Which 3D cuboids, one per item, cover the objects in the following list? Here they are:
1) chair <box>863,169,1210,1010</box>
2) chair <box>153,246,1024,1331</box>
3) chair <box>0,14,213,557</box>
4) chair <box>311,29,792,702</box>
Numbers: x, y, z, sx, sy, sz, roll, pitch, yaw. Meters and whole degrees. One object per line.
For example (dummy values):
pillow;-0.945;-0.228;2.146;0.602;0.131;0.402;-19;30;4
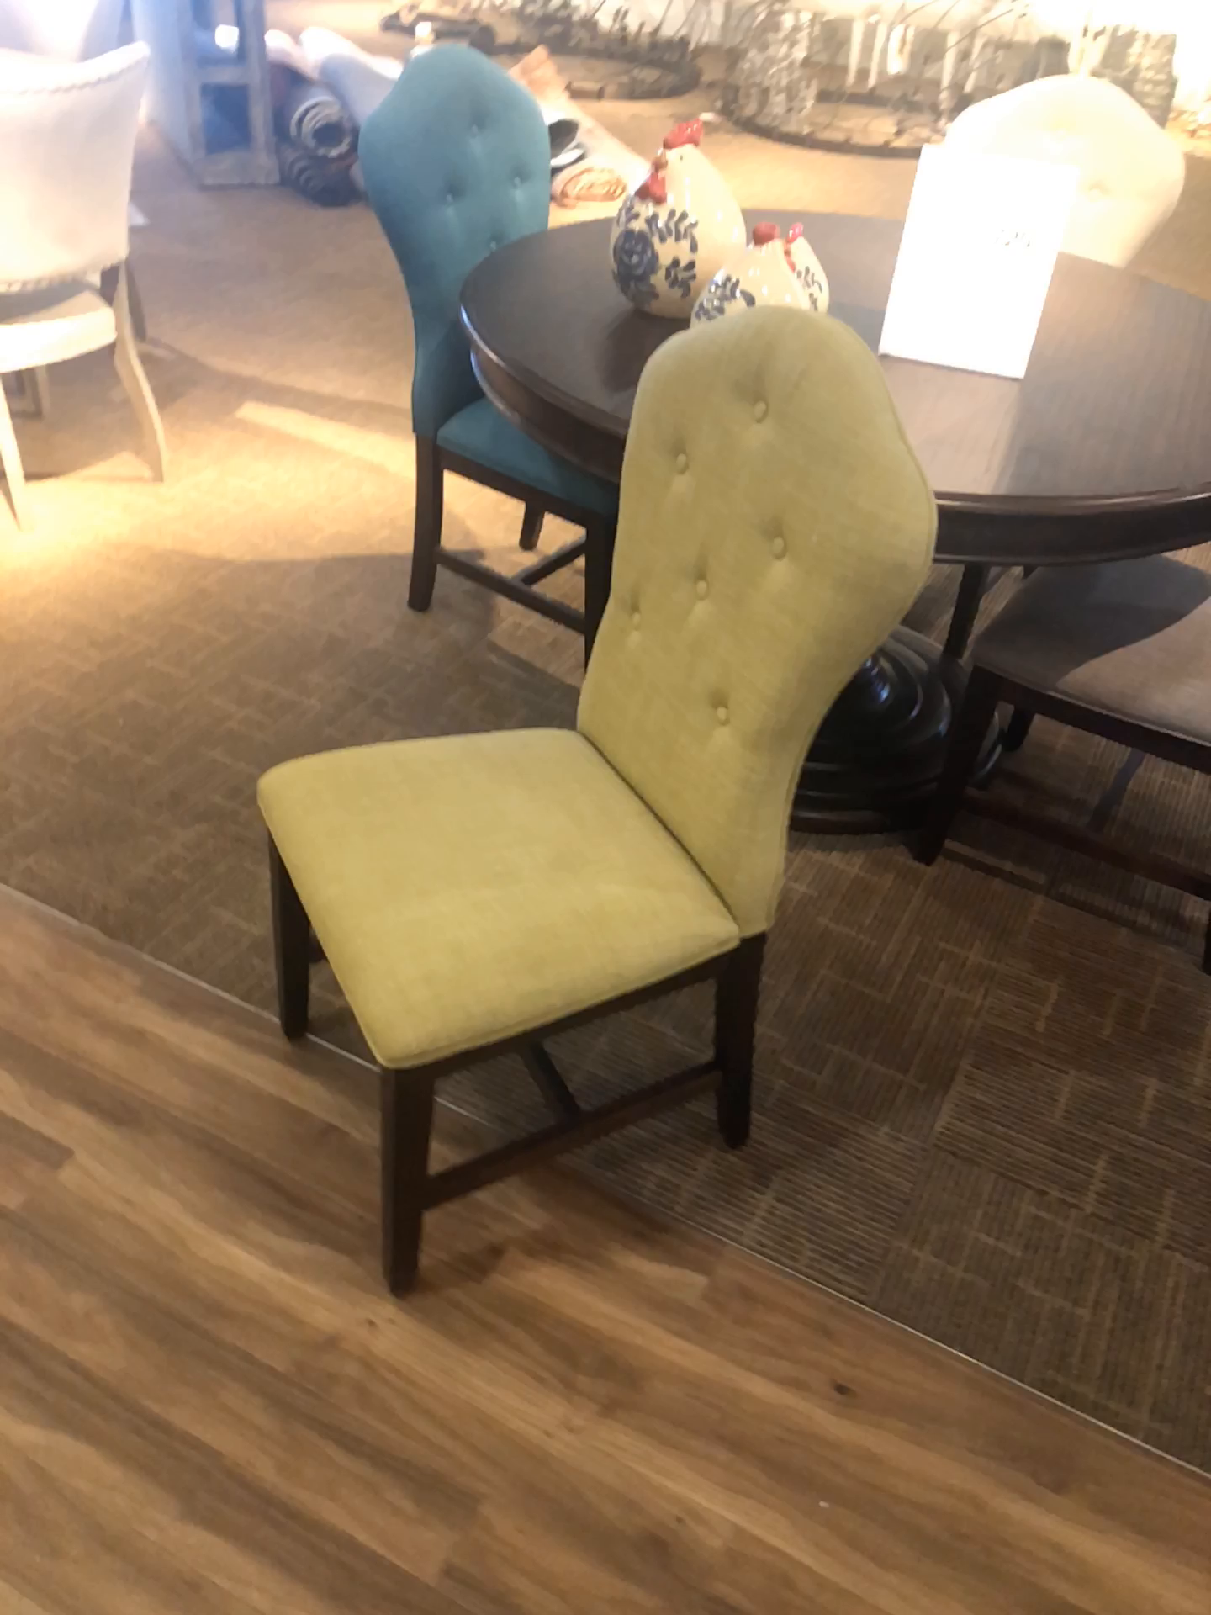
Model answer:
chair;0.860;-0.325;1.944;0.635;0.950;0.510;24;41;23
chair;-0.068;-0.027;1.499;0.616;0.980;0.540;-15;41;-24
chair;-1.417;-1.207;3.024;0.576;0.940;0.701;27;43;27
chair;-0.110;-0.808;2.416;0.575;0.960;0.520;26;42;26
